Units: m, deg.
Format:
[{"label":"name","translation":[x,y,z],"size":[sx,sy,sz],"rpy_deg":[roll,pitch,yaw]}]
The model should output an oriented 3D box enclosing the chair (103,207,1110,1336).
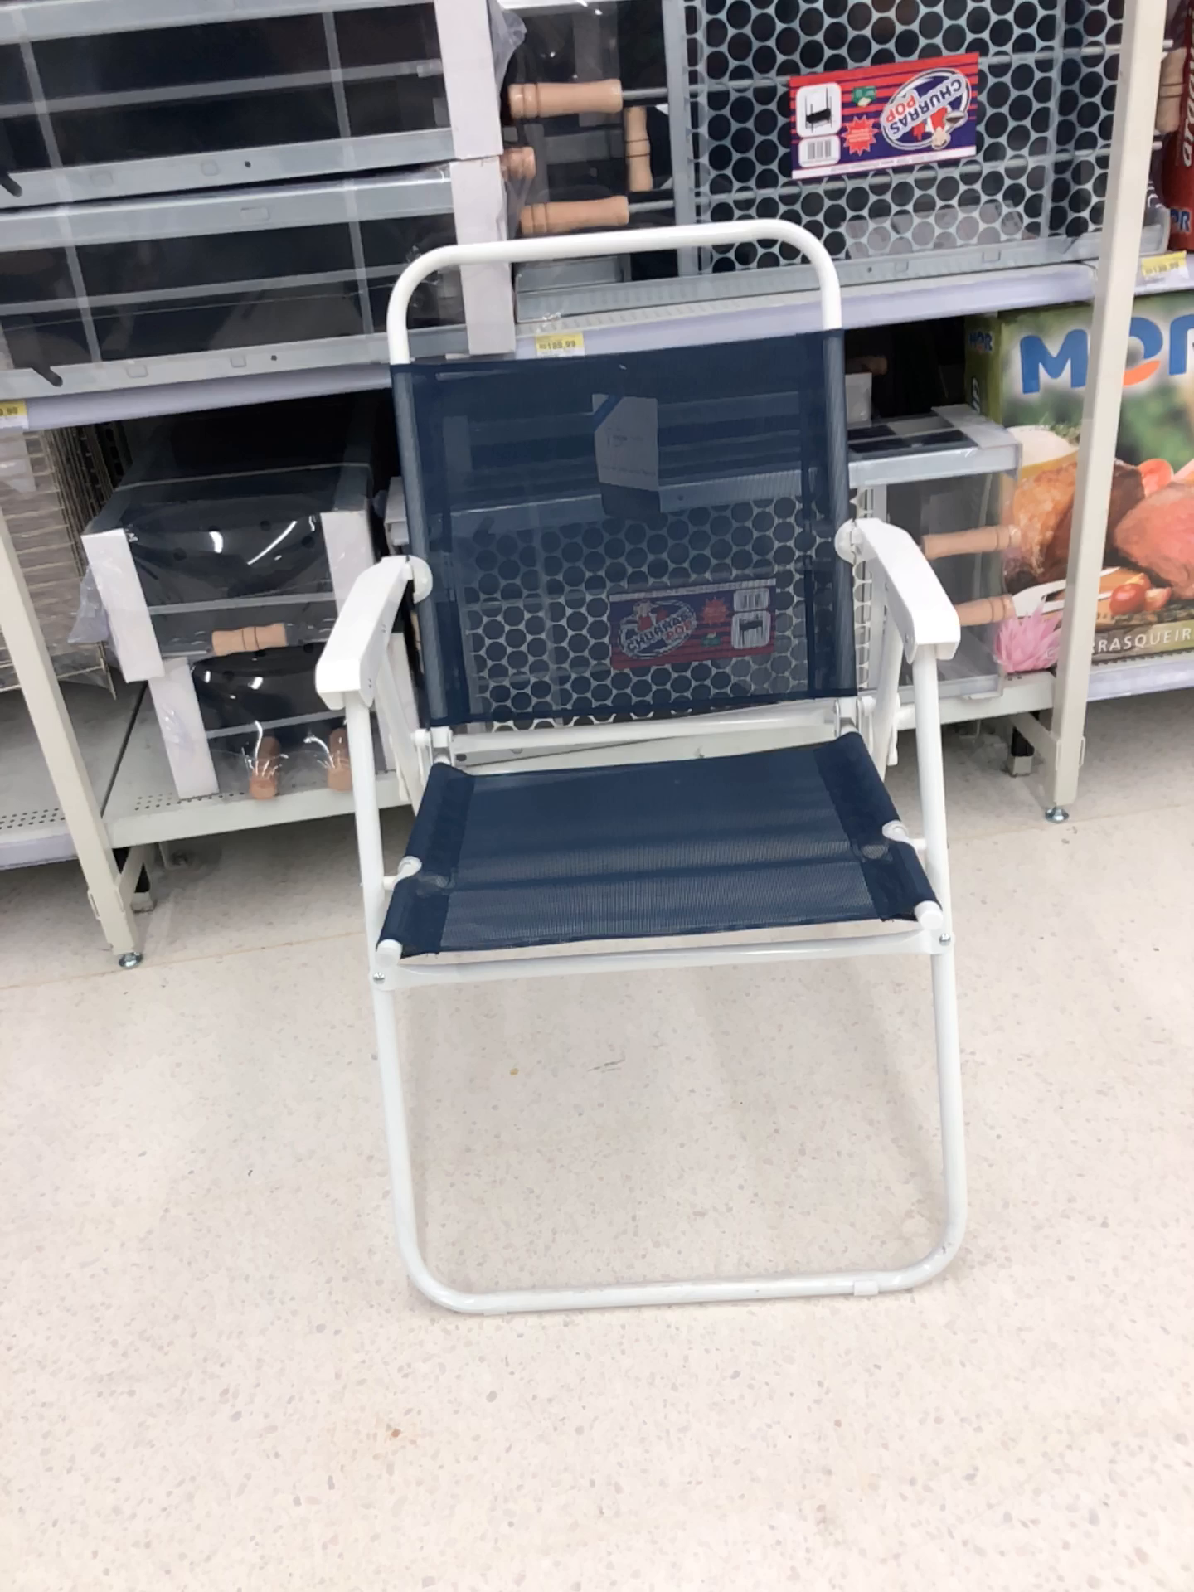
[{"label":"chair","translation":[0.030,-0.056,1.170],"size":[0.540,0.734,0.655],"rpy_deg":[-4,31,2]}]
